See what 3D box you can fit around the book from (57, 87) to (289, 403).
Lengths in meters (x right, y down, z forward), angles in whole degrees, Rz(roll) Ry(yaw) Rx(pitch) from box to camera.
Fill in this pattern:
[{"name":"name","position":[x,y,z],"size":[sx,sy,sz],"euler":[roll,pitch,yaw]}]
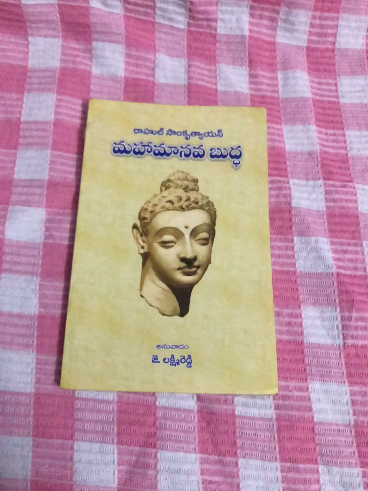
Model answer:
[{"name":"book","position":[-0.003,-0.008,0.290],"size":[0.140,0.020,0.220],"euler":[3,73,-3]}]
